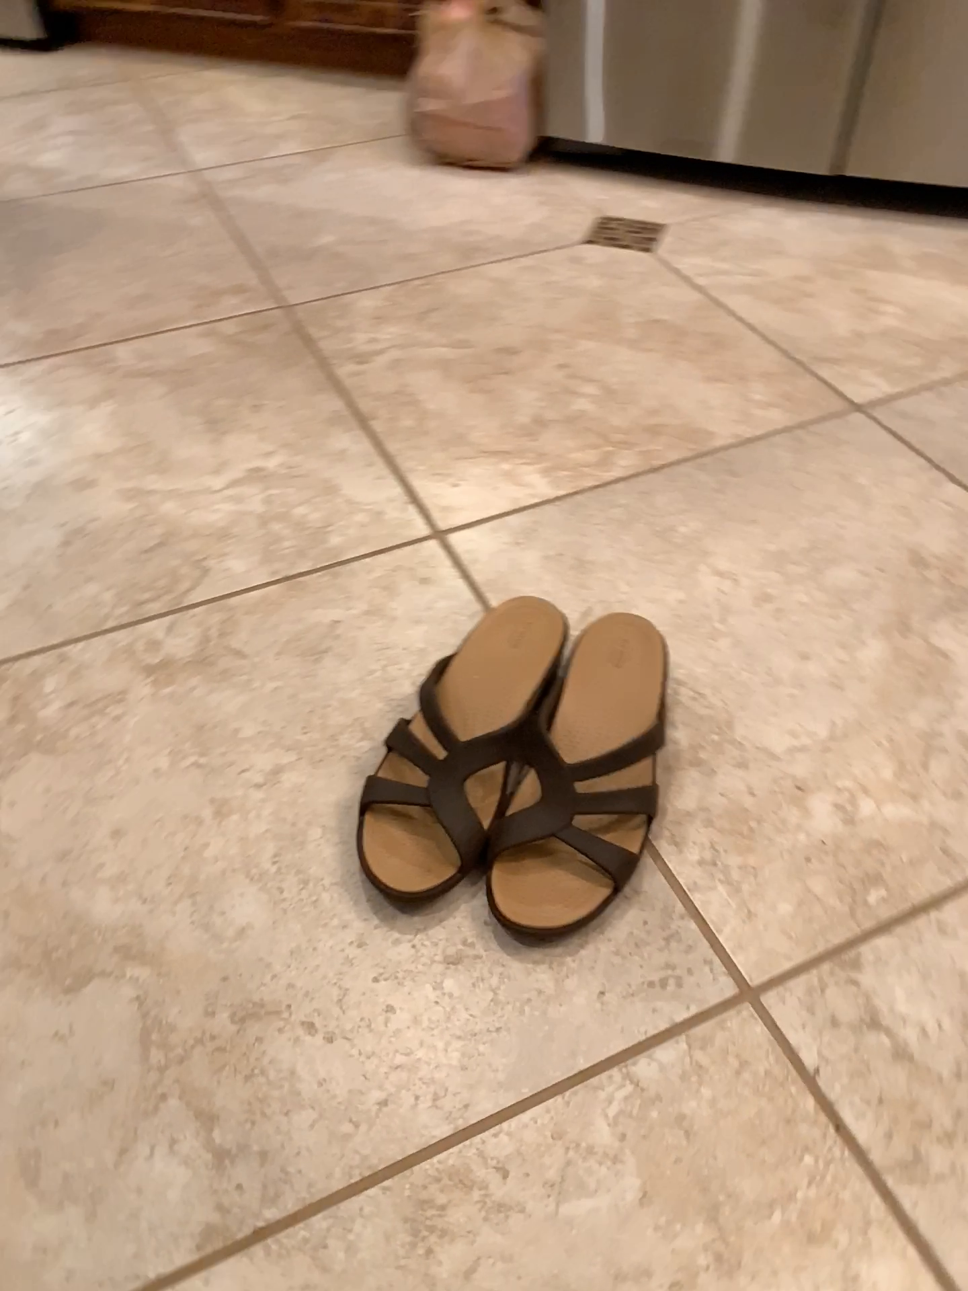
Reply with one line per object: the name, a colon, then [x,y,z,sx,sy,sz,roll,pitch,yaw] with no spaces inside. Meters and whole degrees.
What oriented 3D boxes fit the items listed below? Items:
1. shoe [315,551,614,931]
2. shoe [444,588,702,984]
shoe: [-0.003,0.057,0.723,0.110,0.092,0.259,17,48,17]
shoe: [0.072,0.088,0.717,0.110,0.092,0.265,14,47,14]
